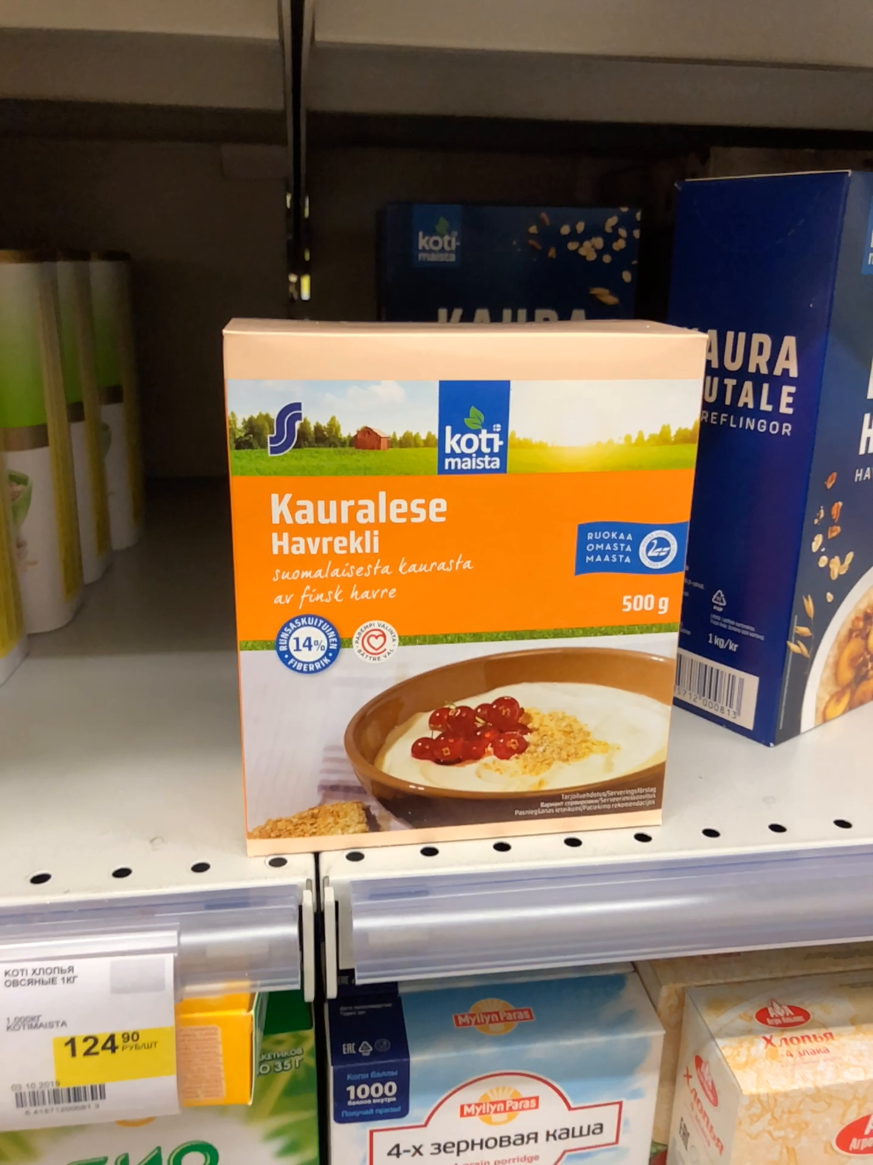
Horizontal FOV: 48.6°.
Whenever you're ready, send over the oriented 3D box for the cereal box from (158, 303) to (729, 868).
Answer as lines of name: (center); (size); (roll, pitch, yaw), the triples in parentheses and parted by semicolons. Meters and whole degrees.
cereal box: (-0.001, -0.004, 0.326); (0.160, 0.169, 0.070); (-2, 18, -9)
